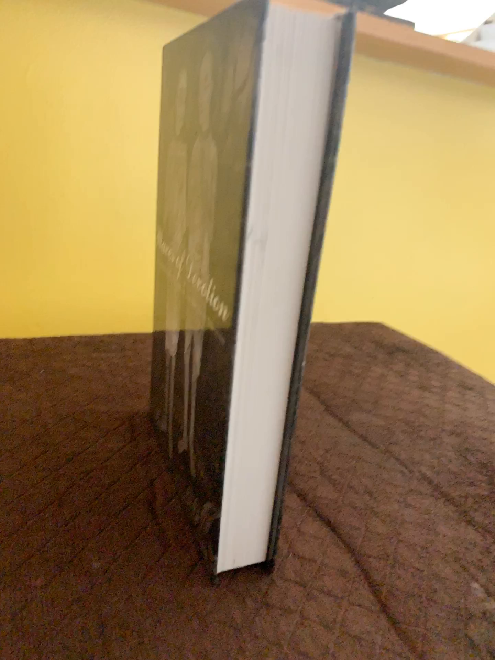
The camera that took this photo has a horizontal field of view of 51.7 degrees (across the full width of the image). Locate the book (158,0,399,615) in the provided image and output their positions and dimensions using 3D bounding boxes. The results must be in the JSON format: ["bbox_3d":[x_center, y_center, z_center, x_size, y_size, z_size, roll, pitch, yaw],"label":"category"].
[{"bbox_3d":[-0.009,-0.019,0.251,0.040,0.229,0.161,-3,21,-19],"label":"book"}]
